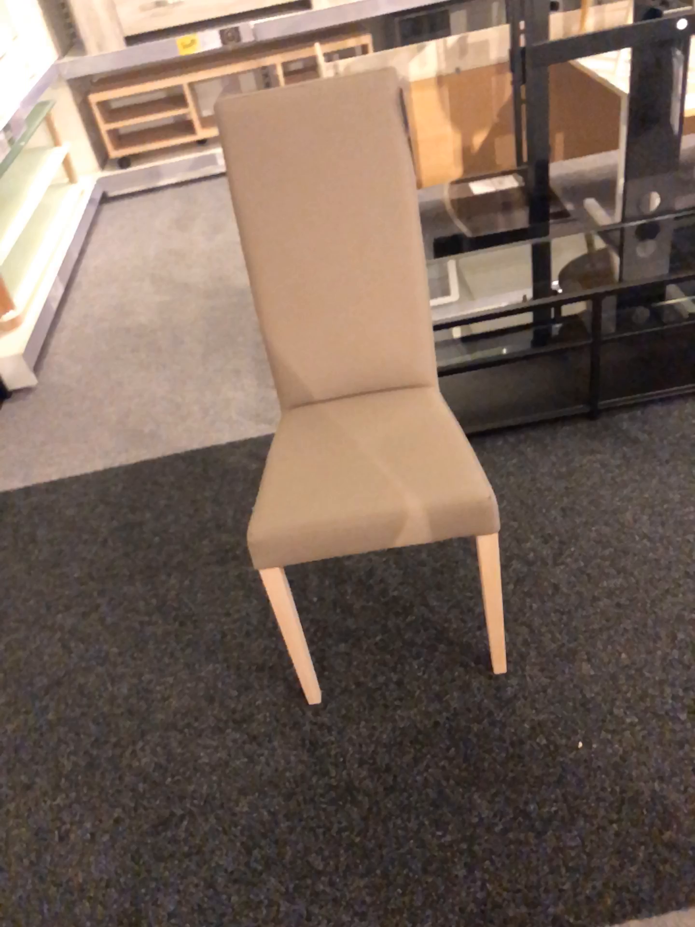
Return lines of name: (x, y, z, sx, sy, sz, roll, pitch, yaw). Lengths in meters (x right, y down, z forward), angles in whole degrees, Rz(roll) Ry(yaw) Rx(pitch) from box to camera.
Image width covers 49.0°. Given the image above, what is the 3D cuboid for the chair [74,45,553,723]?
chair: (0.021, -0.117, 1.370, 0.530, 0.945, 0.634, -9, 38, 4)
